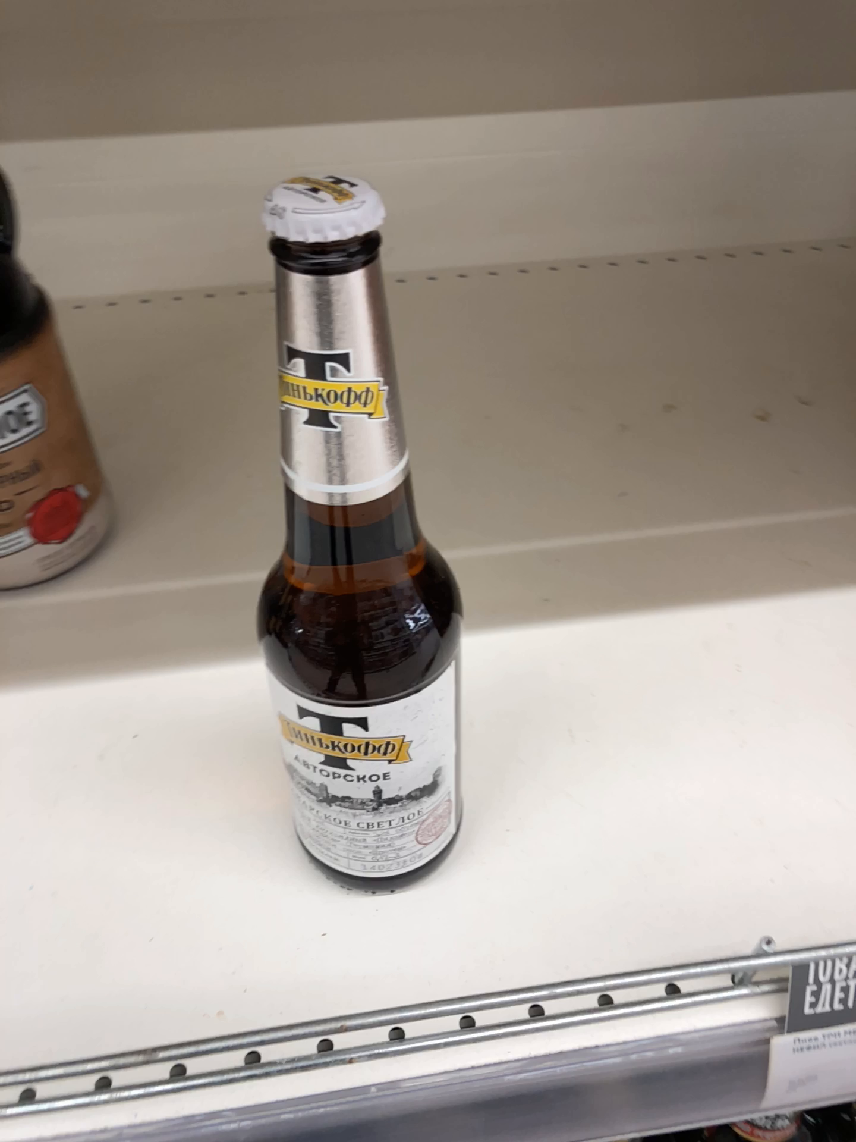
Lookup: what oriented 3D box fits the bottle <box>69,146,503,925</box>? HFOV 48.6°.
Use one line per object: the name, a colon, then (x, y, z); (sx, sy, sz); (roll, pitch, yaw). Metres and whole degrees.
bottle: (-0.027, 0.009, 0.302); (0.080, 0.249, 0.070); (9, 43, 12)
